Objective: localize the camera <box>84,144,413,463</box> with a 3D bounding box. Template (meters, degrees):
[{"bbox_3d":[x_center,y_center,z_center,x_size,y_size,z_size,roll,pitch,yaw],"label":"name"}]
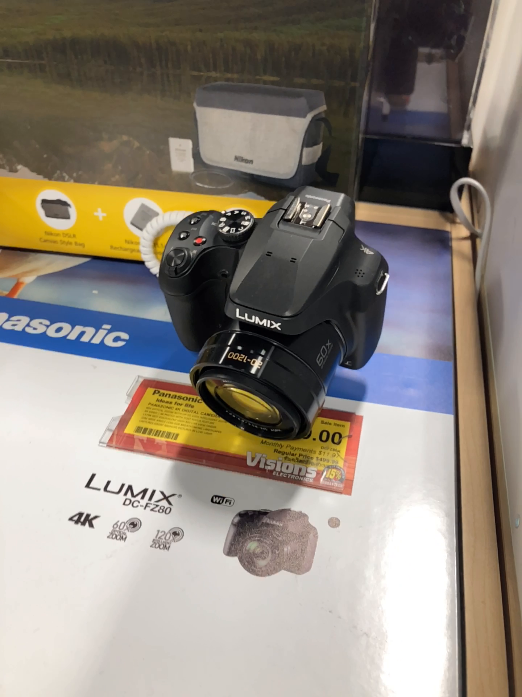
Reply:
[{"bbox_3d":[0.001,-0.025,0.301,0.120,0.099,0.101,16,55,18],"label":"camera"}]
